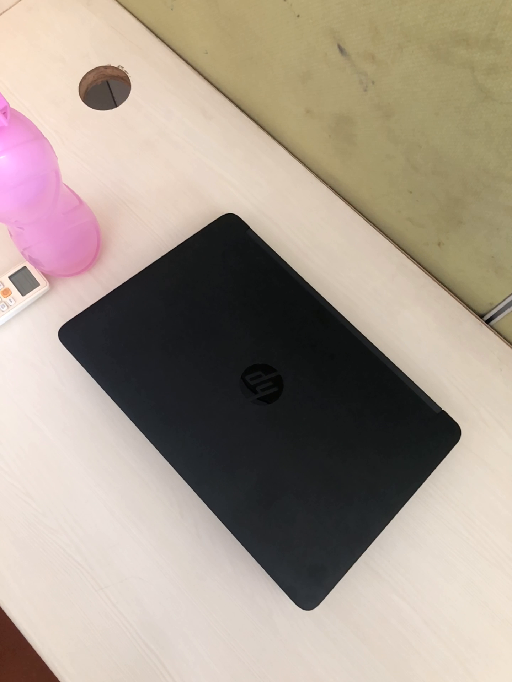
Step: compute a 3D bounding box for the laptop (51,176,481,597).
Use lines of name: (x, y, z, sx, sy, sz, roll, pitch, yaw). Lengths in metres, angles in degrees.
laptop: (0.002, 0.029, 0.540, 0.226, 0.050, 0.330, -42, 78, -8)
